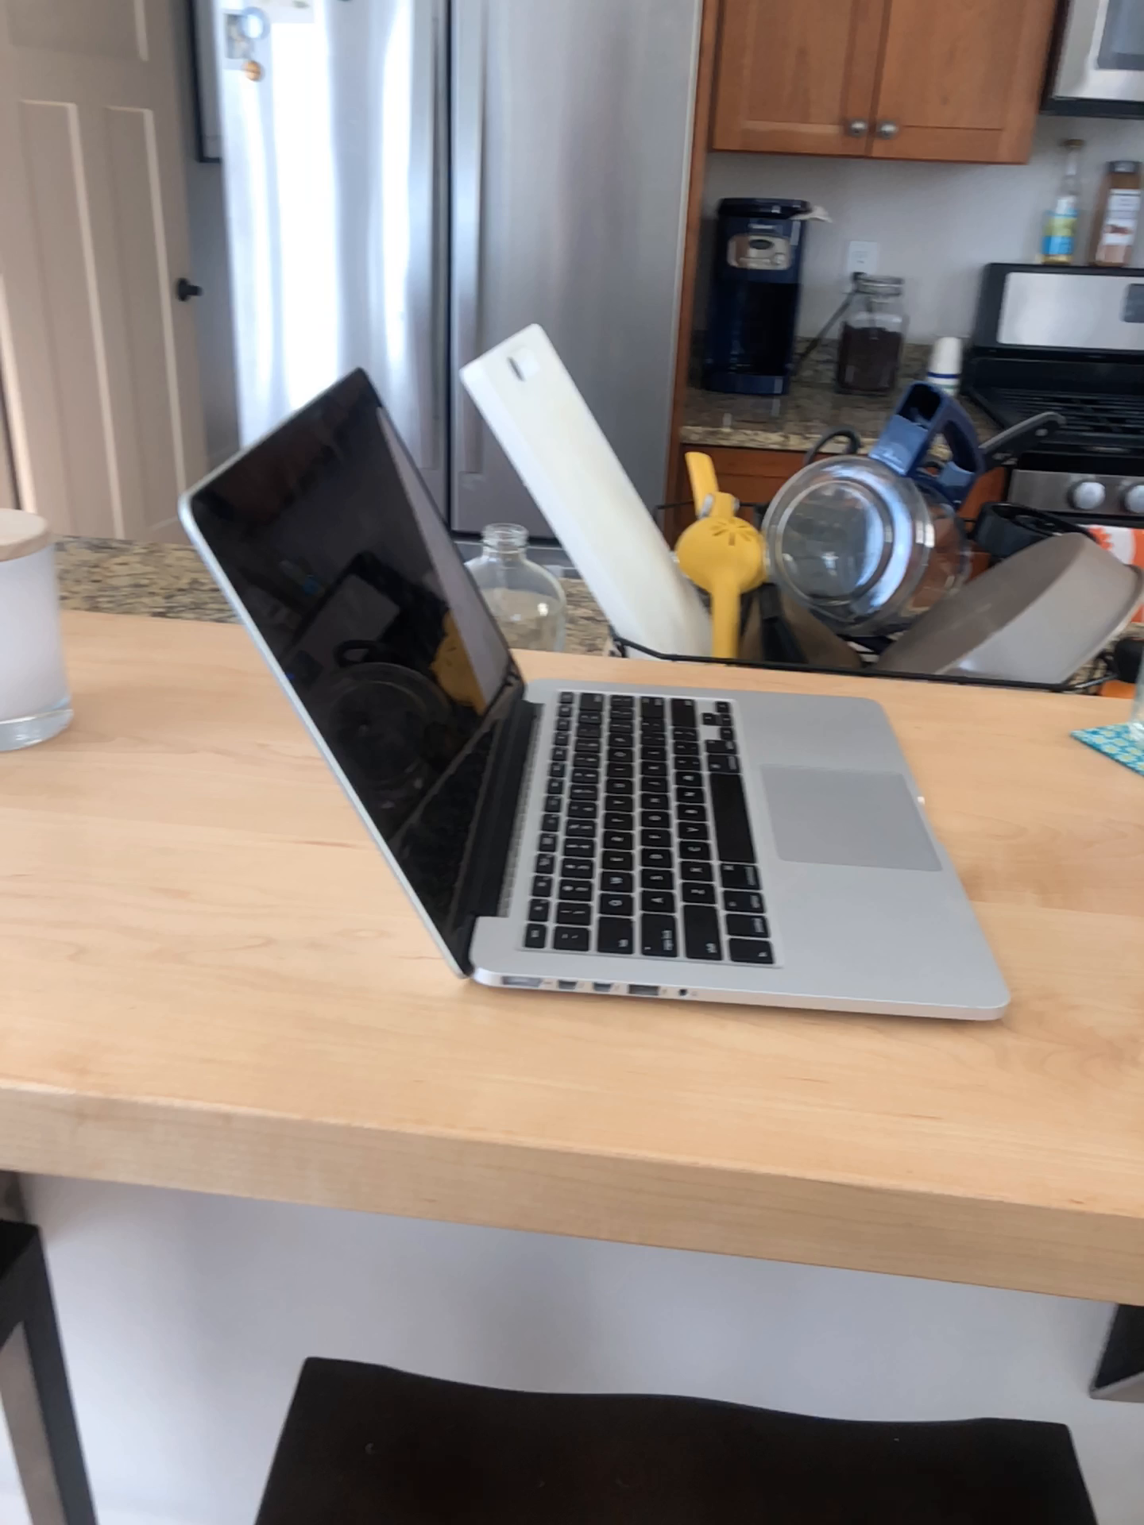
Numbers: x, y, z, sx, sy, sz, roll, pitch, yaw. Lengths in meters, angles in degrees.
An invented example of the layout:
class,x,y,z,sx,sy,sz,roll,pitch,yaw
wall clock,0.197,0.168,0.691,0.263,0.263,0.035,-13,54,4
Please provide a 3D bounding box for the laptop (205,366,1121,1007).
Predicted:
class,x,y,z,sx,sy,sz,roll,pitch,yaw
laptop,0.034,-0.067,0.628,0.322,0.188,0.324,4,26,2
